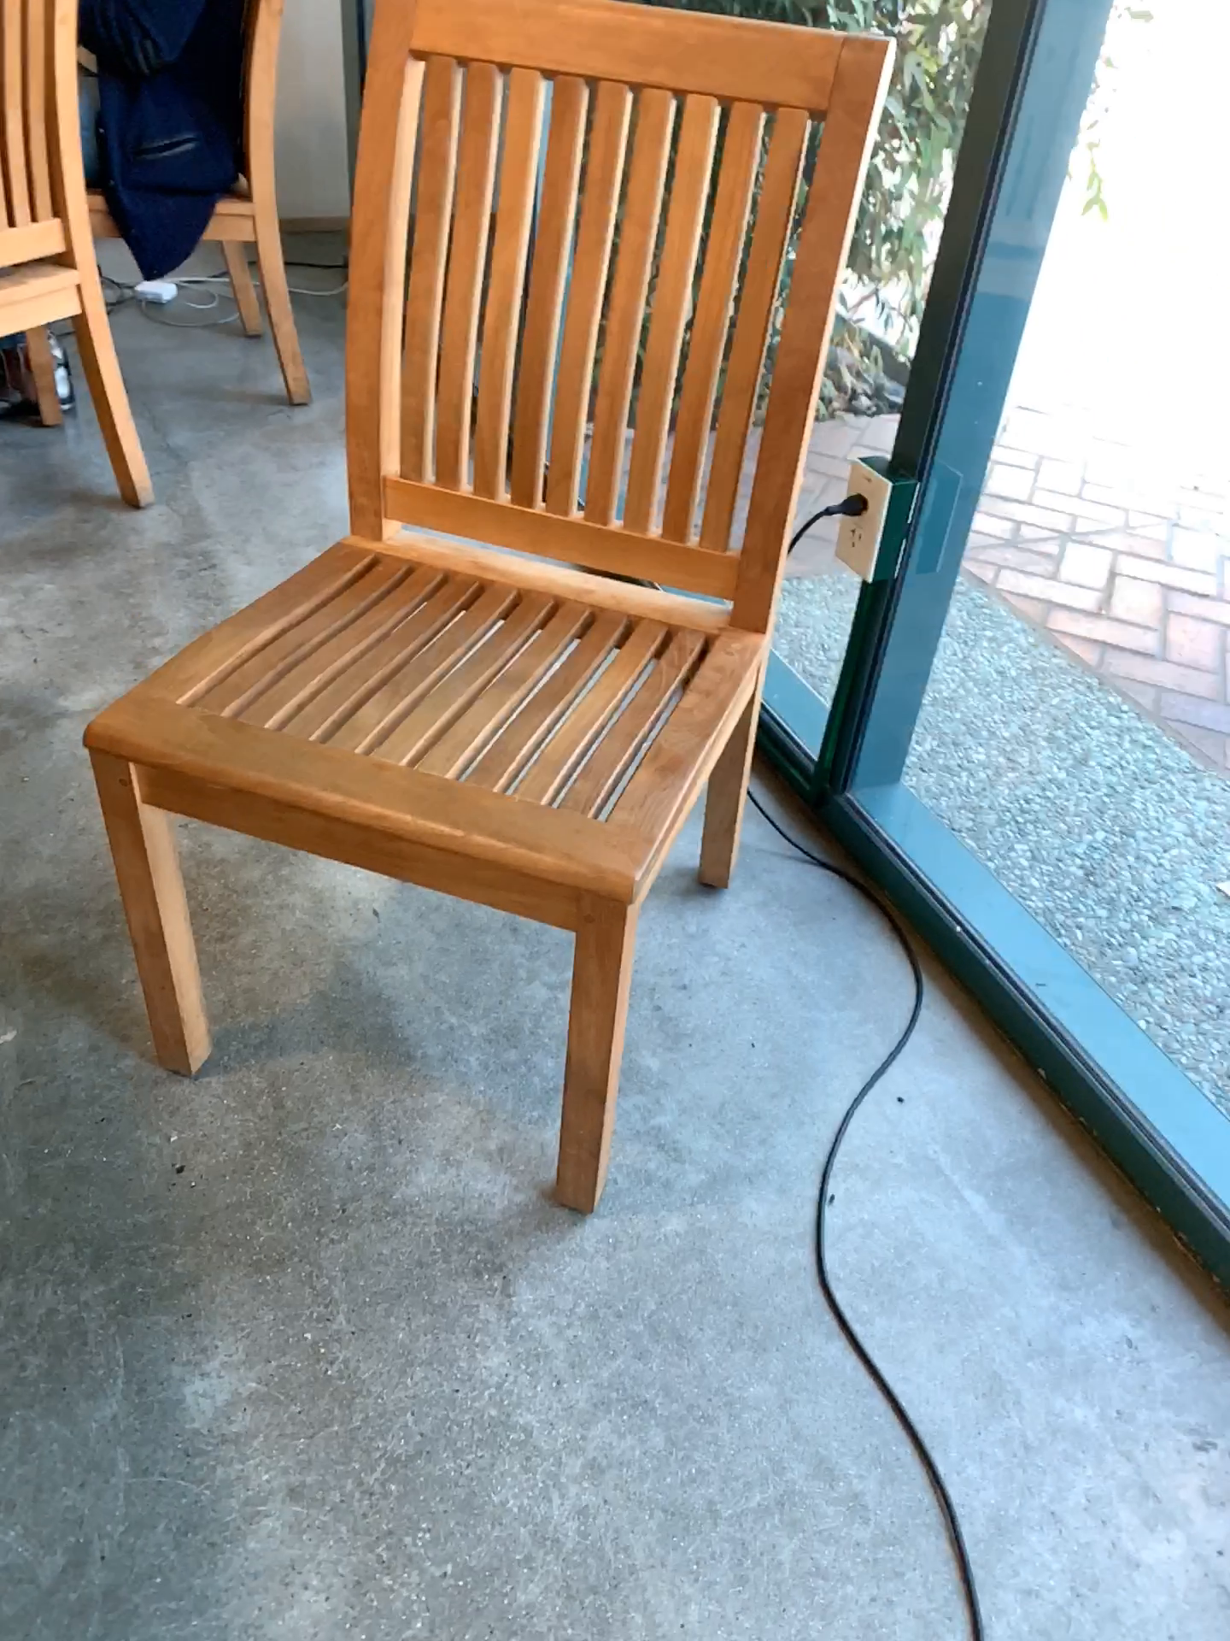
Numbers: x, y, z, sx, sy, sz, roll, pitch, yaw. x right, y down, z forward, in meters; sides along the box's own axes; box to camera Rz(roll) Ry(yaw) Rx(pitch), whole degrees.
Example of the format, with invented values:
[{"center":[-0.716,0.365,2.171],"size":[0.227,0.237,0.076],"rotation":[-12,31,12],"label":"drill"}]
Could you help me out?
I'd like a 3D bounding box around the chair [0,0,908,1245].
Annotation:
[{"center":[-0.141,-0.212,1.162],"size":[0.531,0.914,0.613],"rotation":[16,39,12],"label":"chair"}]
